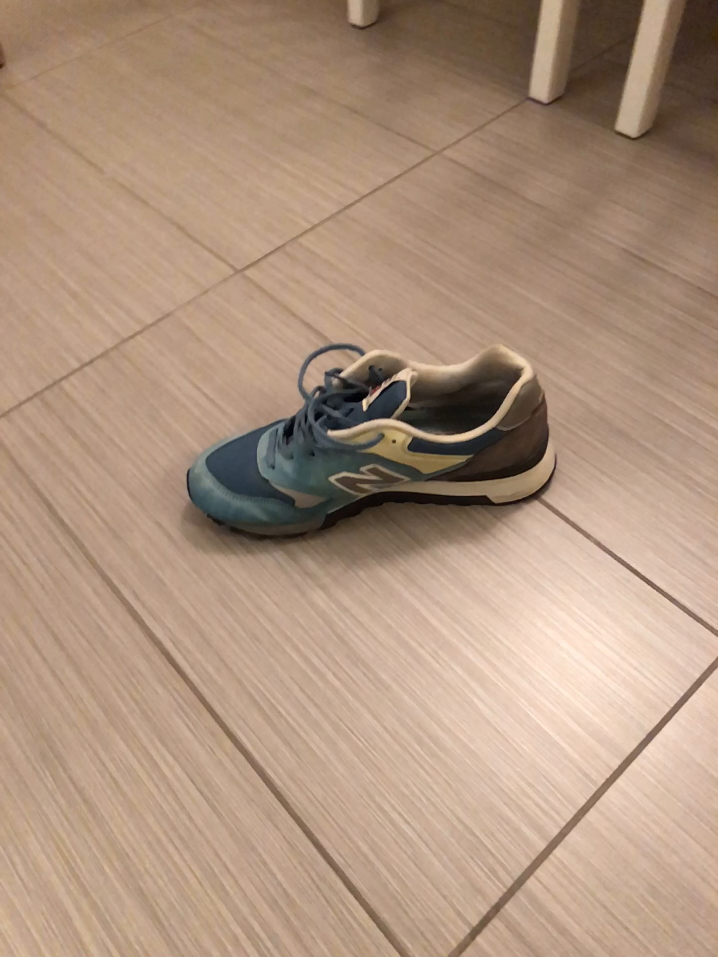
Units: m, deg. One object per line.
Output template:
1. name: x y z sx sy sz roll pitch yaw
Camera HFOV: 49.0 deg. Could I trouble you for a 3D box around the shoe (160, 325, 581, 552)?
1. shoe: 0.005 -0.033 0.626 0.300 0.070 0.131 -7 52 1
